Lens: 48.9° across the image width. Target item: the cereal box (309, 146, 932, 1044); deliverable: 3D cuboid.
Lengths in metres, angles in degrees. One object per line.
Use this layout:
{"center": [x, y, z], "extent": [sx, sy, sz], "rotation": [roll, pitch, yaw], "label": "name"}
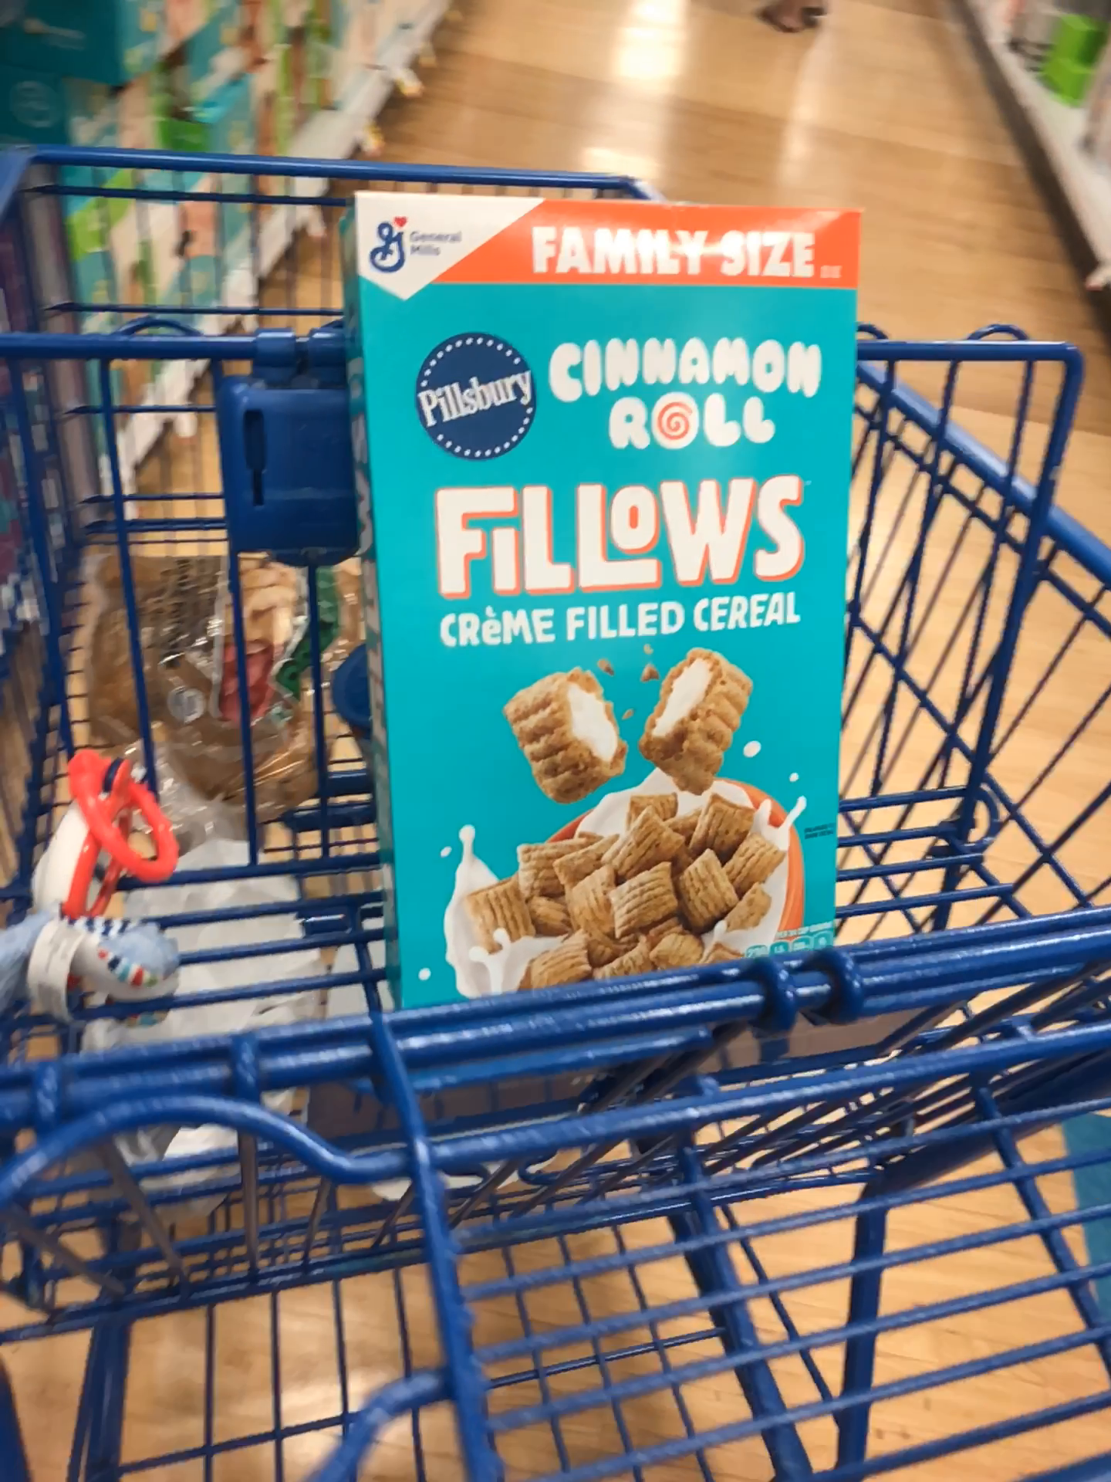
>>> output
{"center": [0.026, -0.051, 0.456], "extent": [0.210, 0.290, 0.060], "rotation": [-5, 12, -18], "label": "cereal box"}
